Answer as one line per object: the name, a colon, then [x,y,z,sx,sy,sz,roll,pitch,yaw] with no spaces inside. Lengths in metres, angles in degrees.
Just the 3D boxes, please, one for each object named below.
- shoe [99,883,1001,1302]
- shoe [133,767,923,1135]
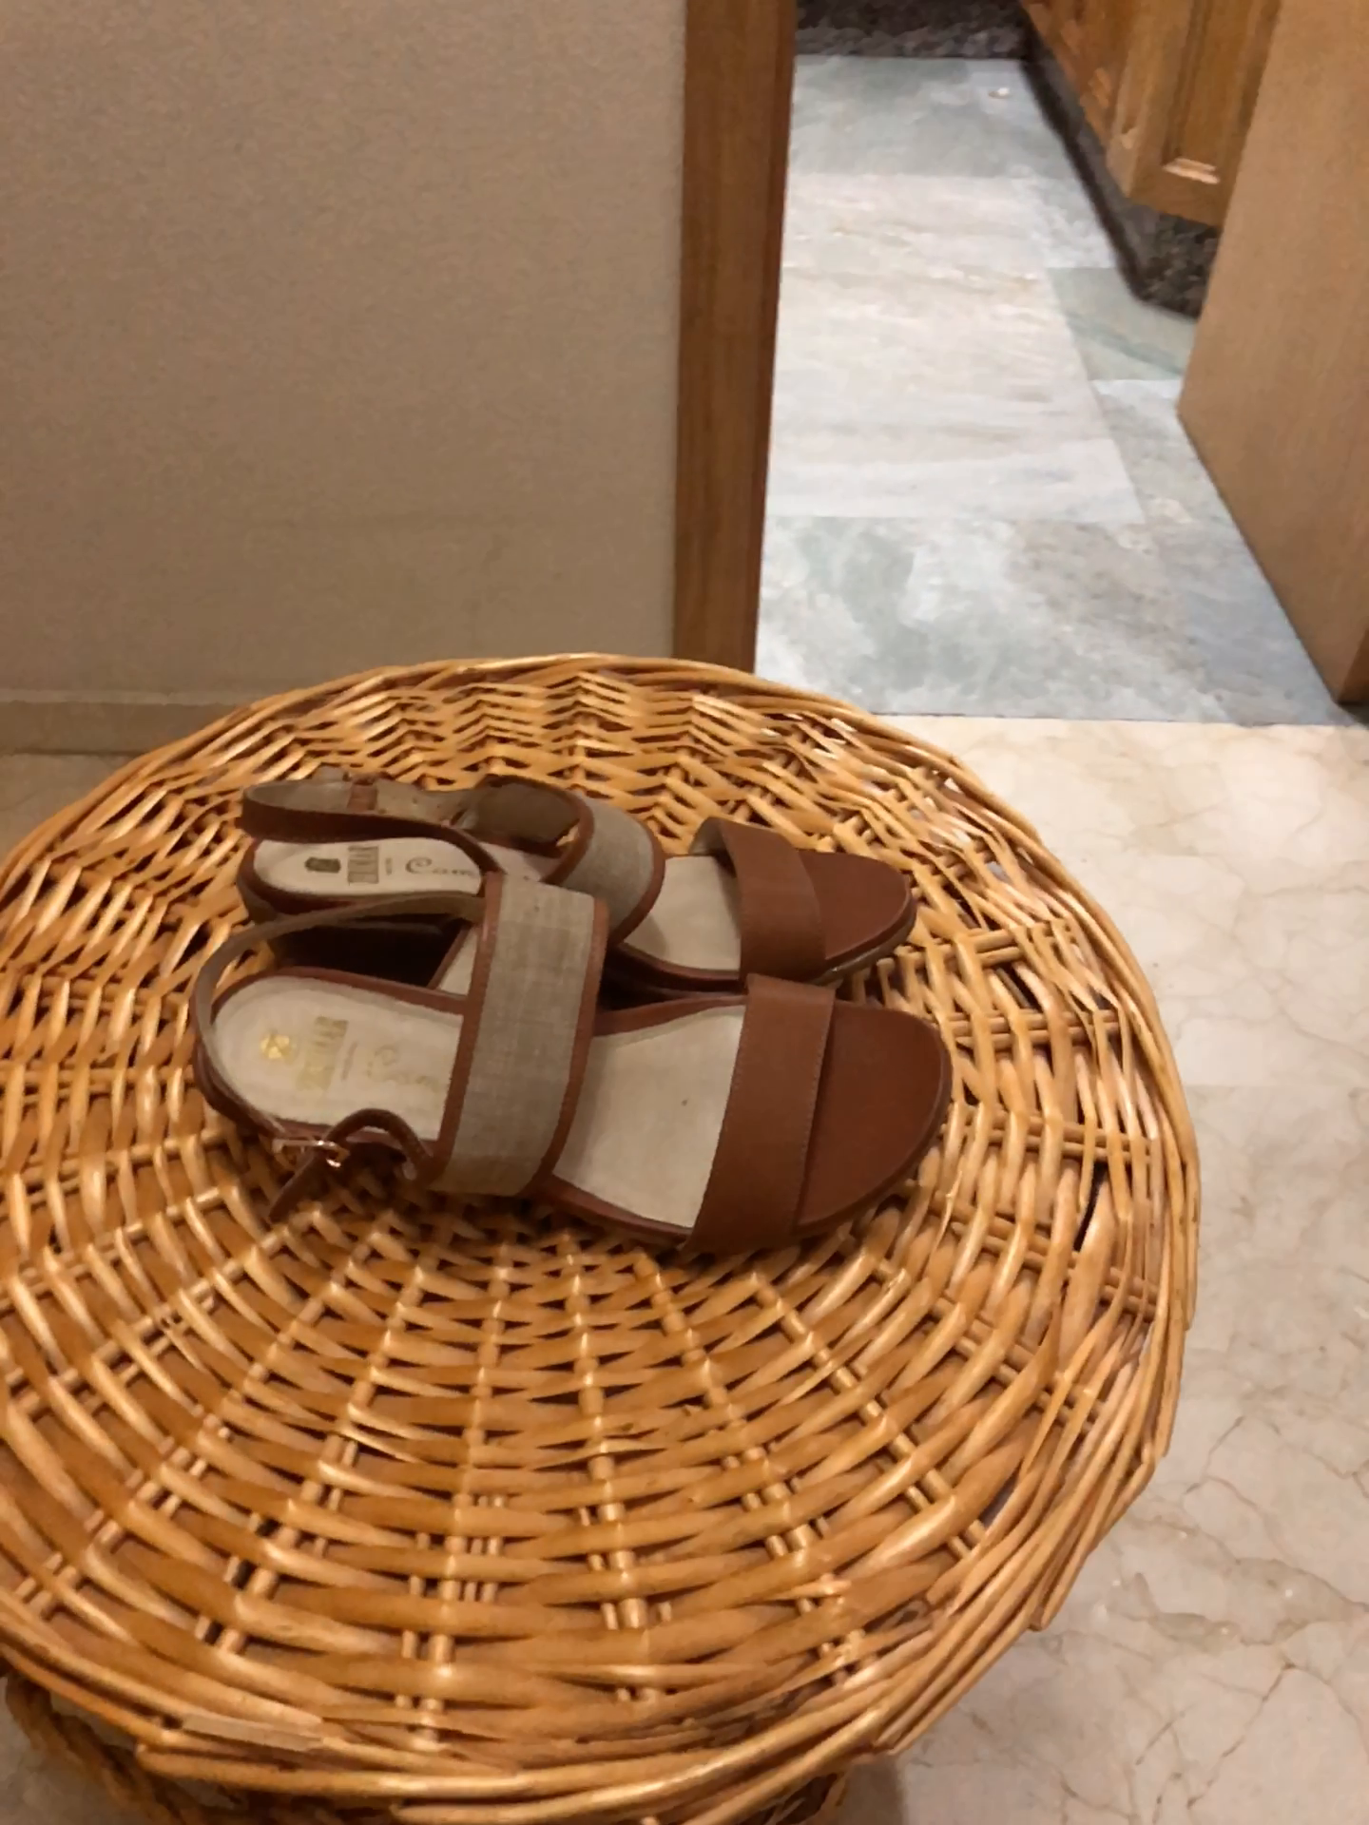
shoe: [-0.038,0.060,0.505,0.270,0.070,0.100,4,59,3]
shoe: [-0.056,0.014,0.581,0.270,0.090,0.090,-3,44,-4]
